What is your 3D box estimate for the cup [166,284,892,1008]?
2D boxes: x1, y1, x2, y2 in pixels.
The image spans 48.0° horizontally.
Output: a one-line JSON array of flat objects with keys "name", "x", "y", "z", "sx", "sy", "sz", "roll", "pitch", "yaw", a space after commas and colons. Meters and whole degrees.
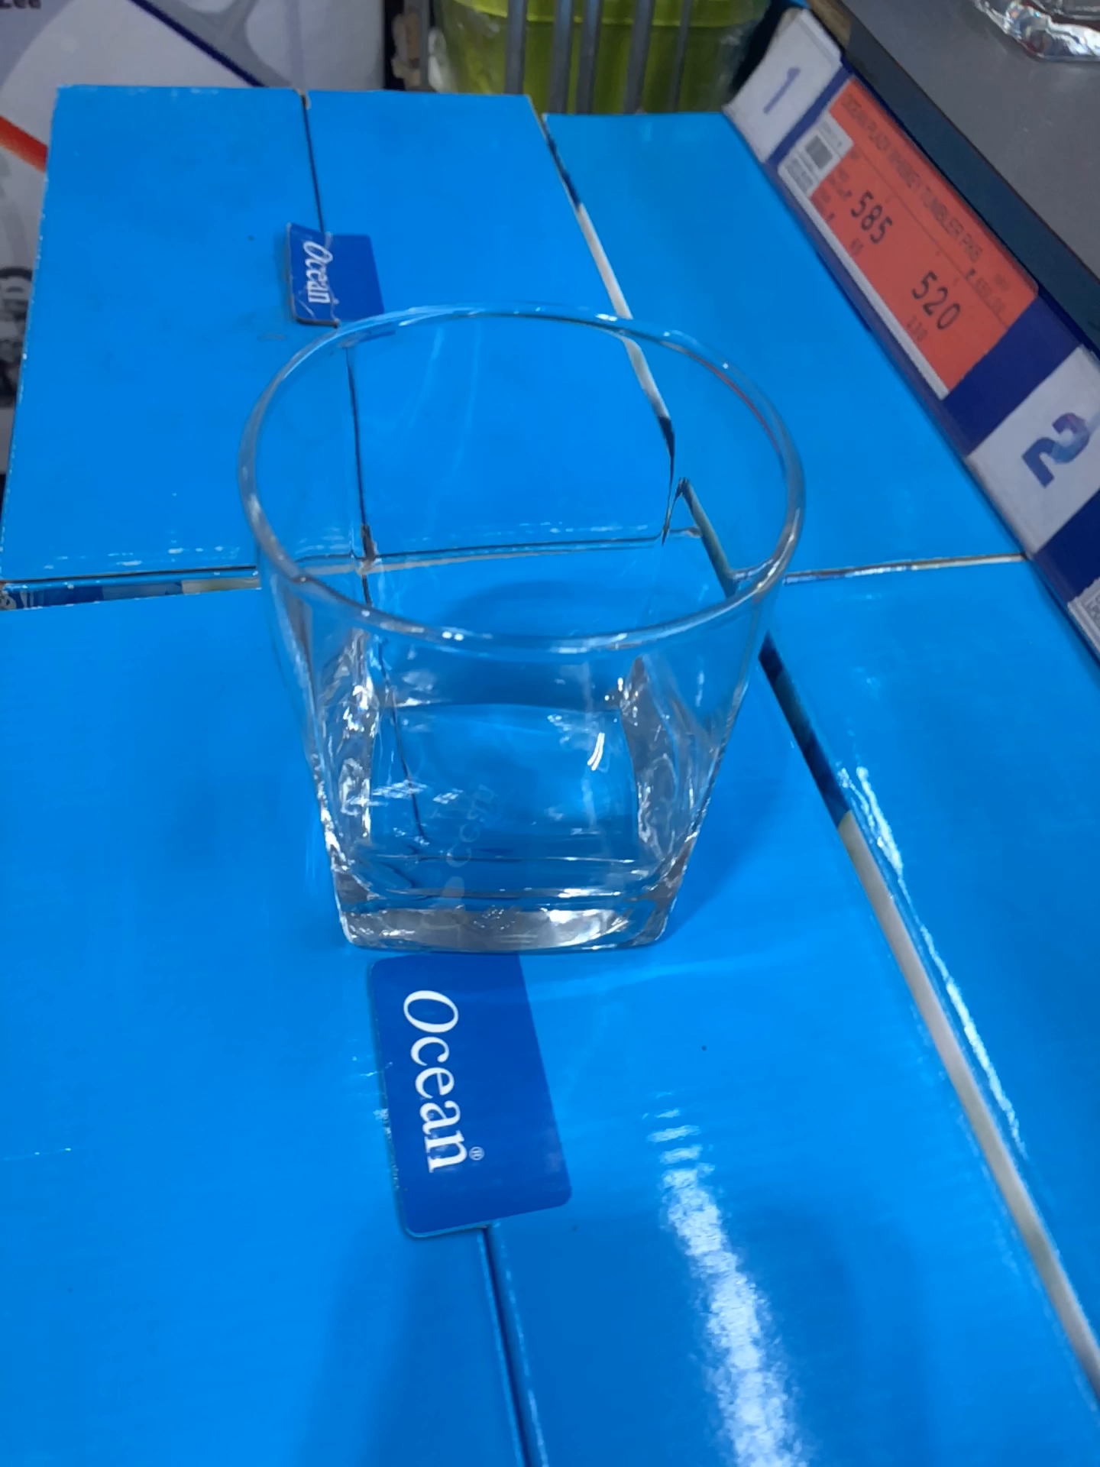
[{"name": "cup", "x": -0.009, "y": -0.016, "z": 0.211, "sx": 0.090, "sy": 0.080, "sz": 0.090, "roll": 3, "pitch": 48, "yaw": -3}]
